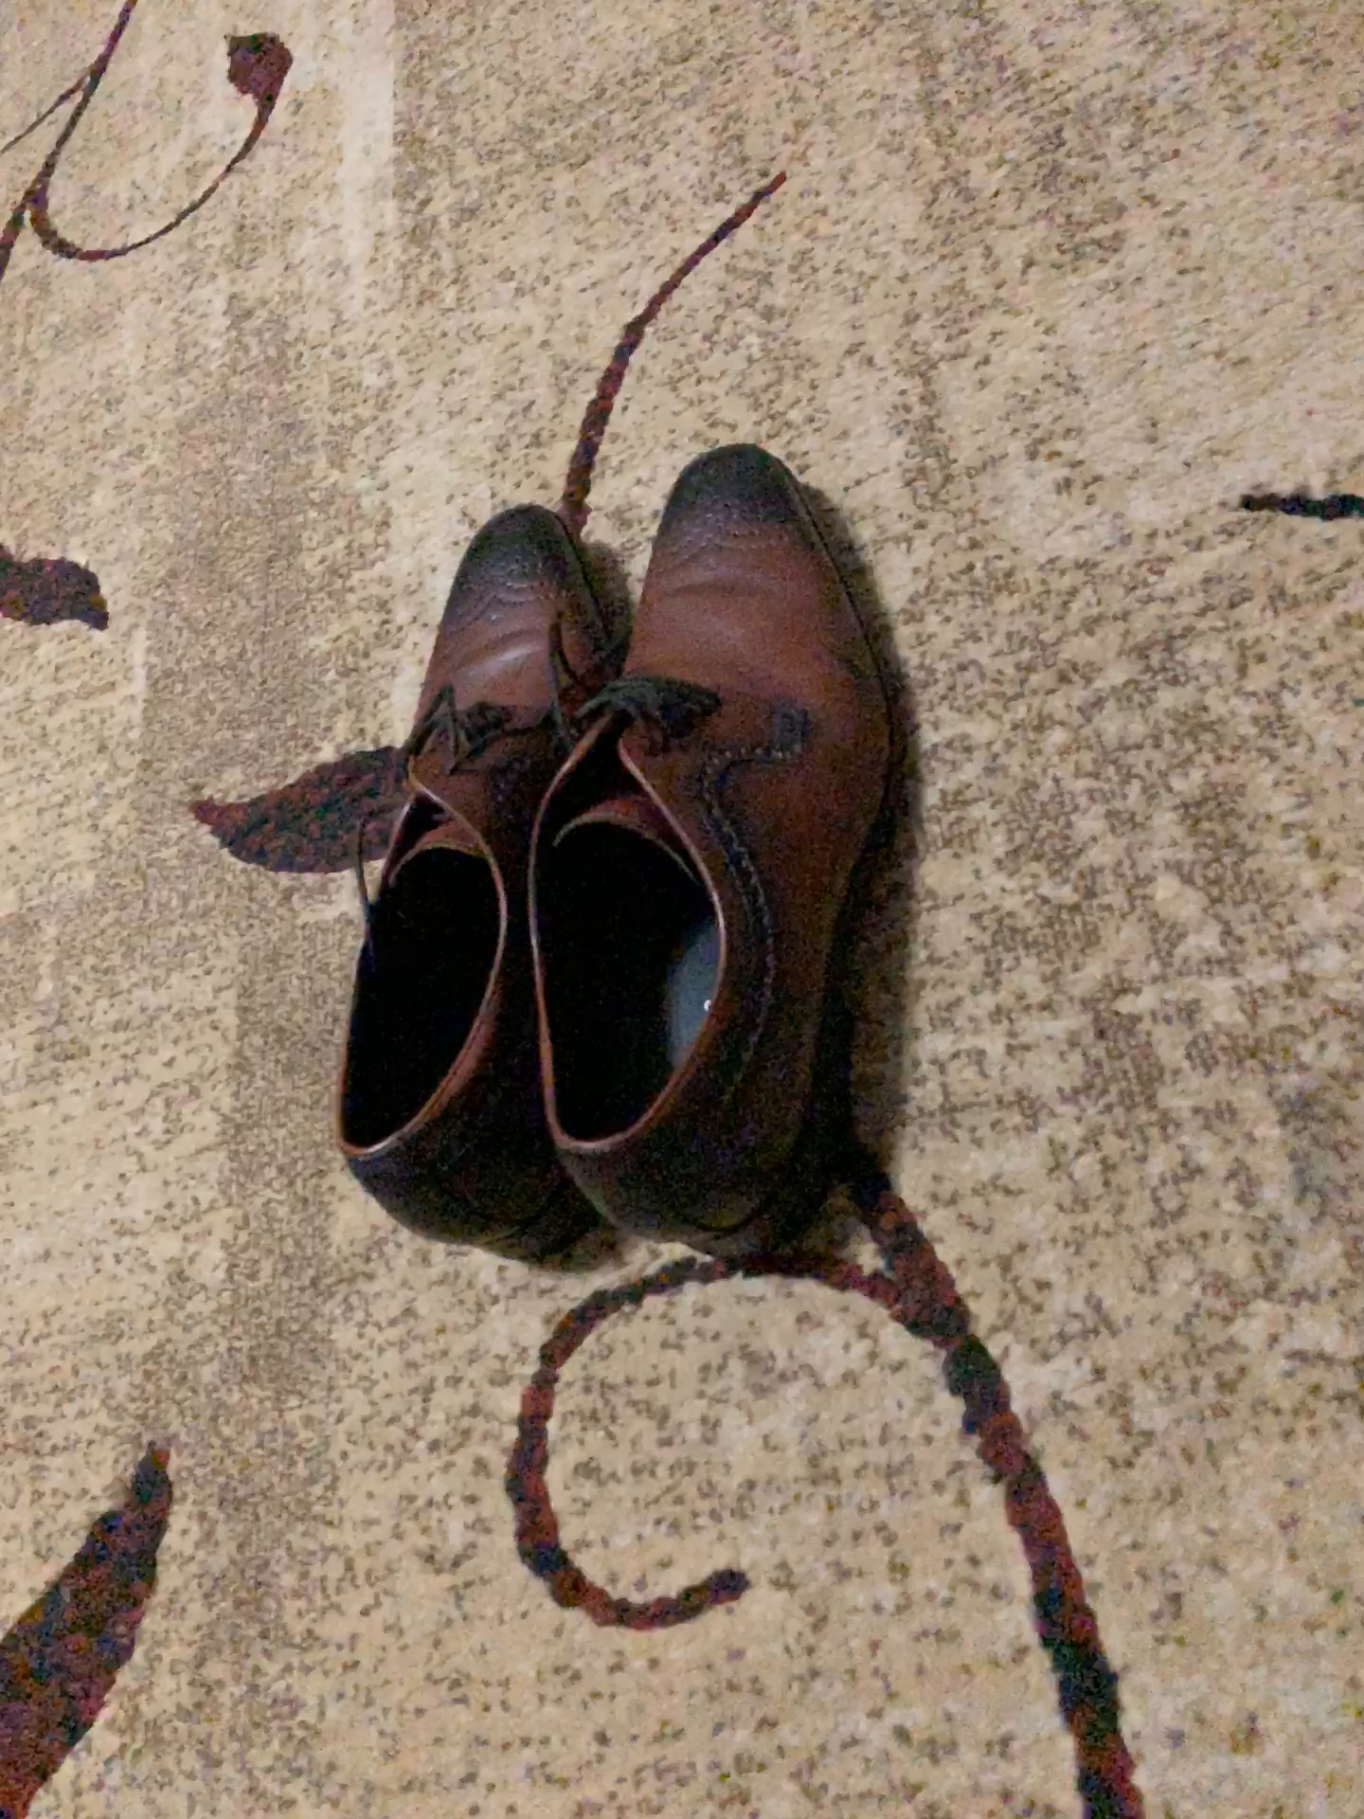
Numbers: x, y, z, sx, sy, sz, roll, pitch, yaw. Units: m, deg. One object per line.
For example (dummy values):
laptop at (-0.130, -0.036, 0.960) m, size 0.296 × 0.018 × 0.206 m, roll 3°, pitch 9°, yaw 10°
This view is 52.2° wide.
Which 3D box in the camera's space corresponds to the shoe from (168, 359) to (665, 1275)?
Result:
shoe at (-0.075, -0.030, 0.472) m, size 0.096 × 0.115 × 0.275 m, roll -13°, pitch 62°, yaw 23°

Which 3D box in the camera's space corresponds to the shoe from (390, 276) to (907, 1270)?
shoe at (0.005, -0.038, 0.432) m, size 0.096 × 0.115 × 0.275 m, roll -7°, pitch 64°, yaw 25°
